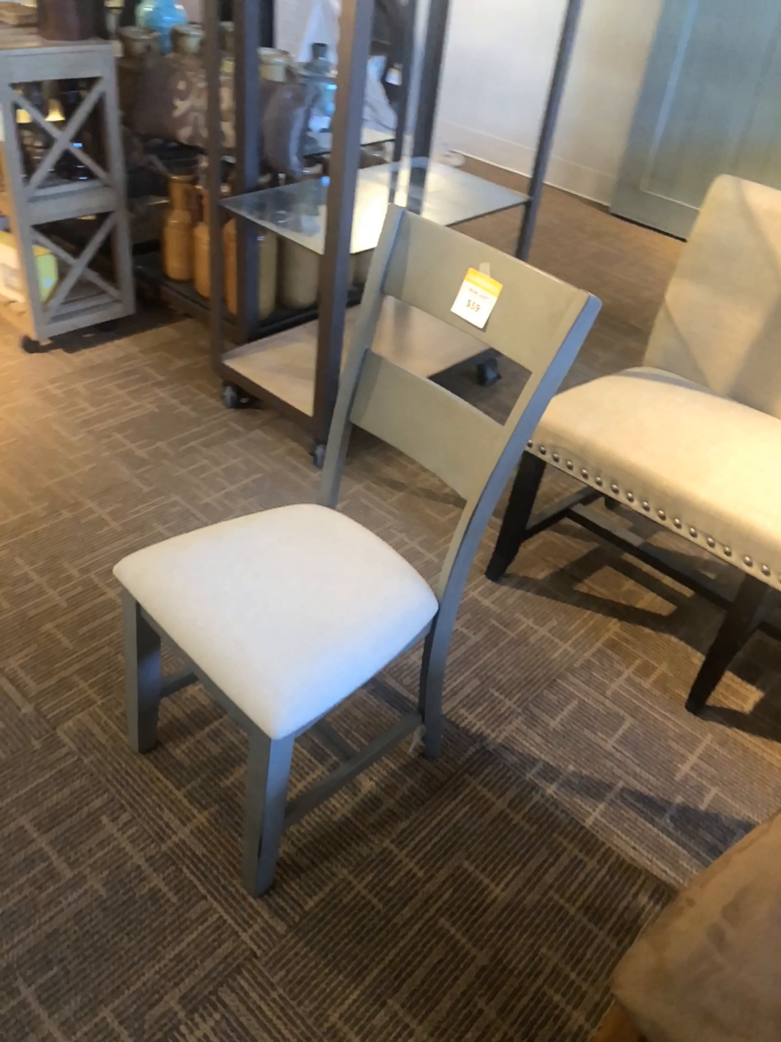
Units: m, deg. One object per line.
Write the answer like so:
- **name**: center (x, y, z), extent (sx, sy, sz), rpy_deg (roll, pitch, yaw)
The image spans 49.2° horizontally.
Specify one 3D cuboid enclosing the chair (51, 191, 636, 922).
- **chair**: center (-0.092, 0.052, 1.424), extent (0.632, 0.965, 0.461), rpy_deg (-26, 49, -36)
